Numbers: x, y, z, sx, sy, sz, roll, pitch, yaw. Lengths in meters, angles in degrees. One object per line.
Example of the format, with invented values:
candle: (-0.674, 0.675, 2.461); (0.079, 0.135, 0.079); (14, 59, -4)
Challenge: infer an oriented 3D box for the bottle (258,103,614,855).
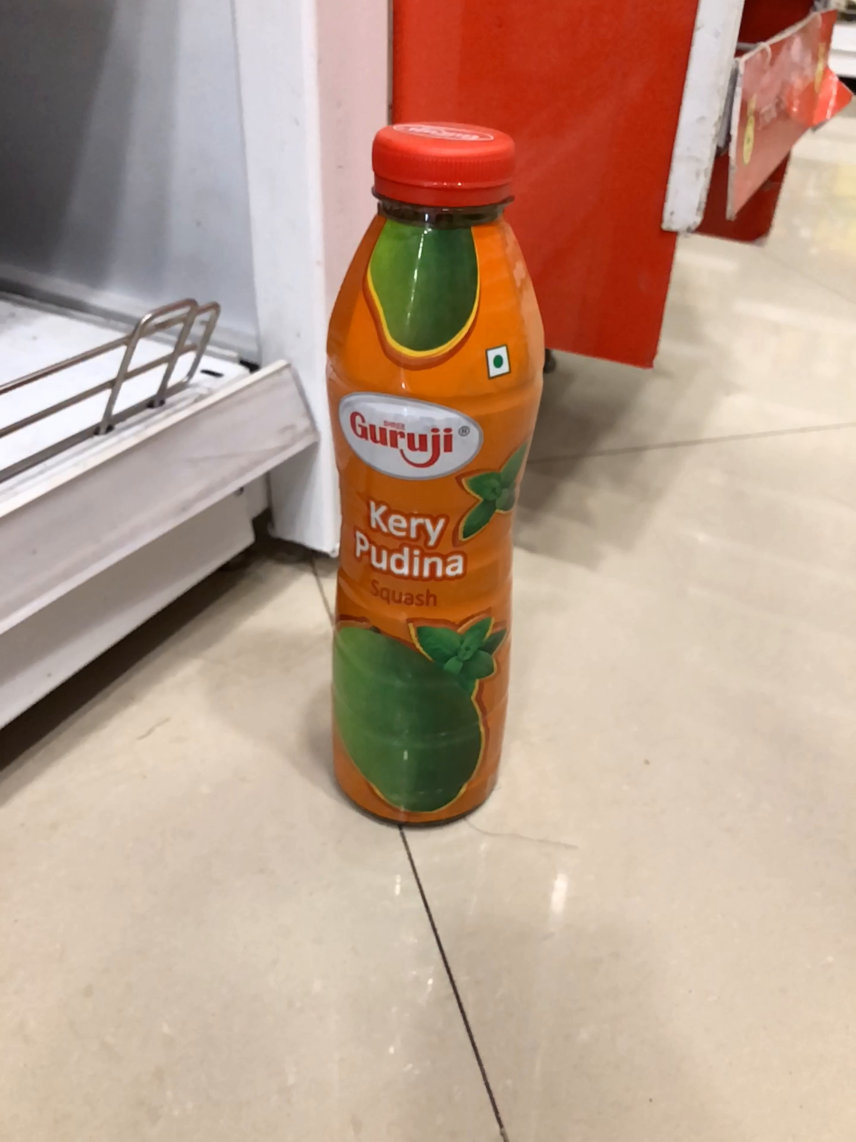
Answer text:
bottle: (0.003, -0.021, 0.330); (0.080, 0.238, 0.081); (2, 35, -1)
